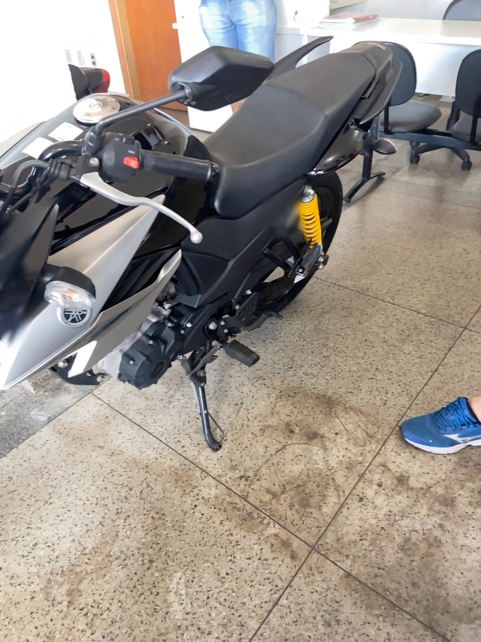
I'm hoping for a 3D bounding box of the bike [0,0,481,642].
[{"bbox_3d":[-0.037,-0.083,1.177,0.816,1.331,2.012,18,42,28],"label":"bike"}]
